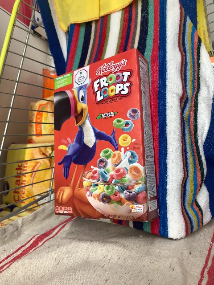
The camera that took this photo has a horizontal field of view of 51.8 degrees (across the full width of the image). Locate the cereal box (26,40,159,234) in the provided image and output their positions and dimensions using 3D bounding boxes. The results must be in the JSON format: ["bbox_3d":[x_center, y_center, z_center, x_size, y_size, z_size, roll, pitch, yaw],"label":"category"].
[{"bbox_3d":[-0.036,0.000,0.360,0.211,0.060,0.250,-8,79,32],"label":"cereal box"}]
